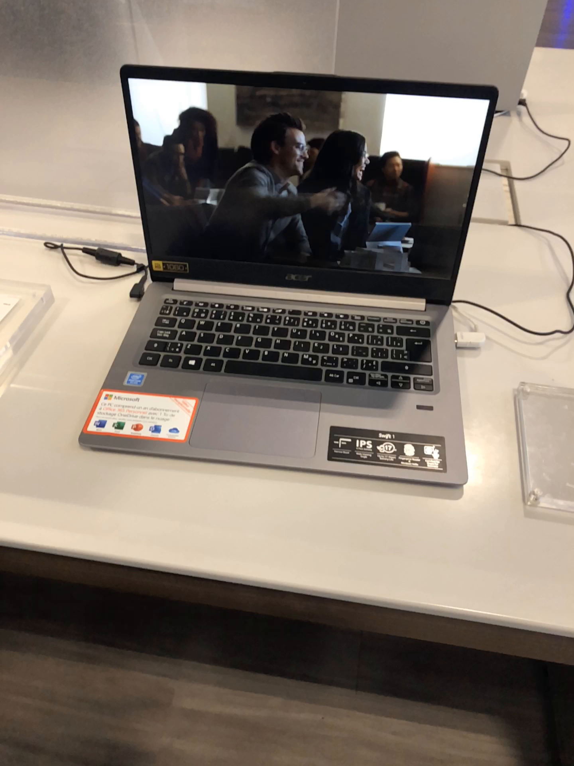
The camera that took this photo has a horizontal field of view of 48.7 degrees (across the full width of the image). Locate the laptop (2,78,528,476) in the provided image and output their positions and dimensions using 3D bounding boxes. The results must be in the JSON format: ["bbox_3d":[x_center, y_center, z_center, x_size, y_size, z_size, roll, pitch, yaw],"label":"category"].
[{"bbox_3d":[-0.002,-0.090,0.517,0.306,0.205,0.225,5,46,4],"label":"laptop"}]
